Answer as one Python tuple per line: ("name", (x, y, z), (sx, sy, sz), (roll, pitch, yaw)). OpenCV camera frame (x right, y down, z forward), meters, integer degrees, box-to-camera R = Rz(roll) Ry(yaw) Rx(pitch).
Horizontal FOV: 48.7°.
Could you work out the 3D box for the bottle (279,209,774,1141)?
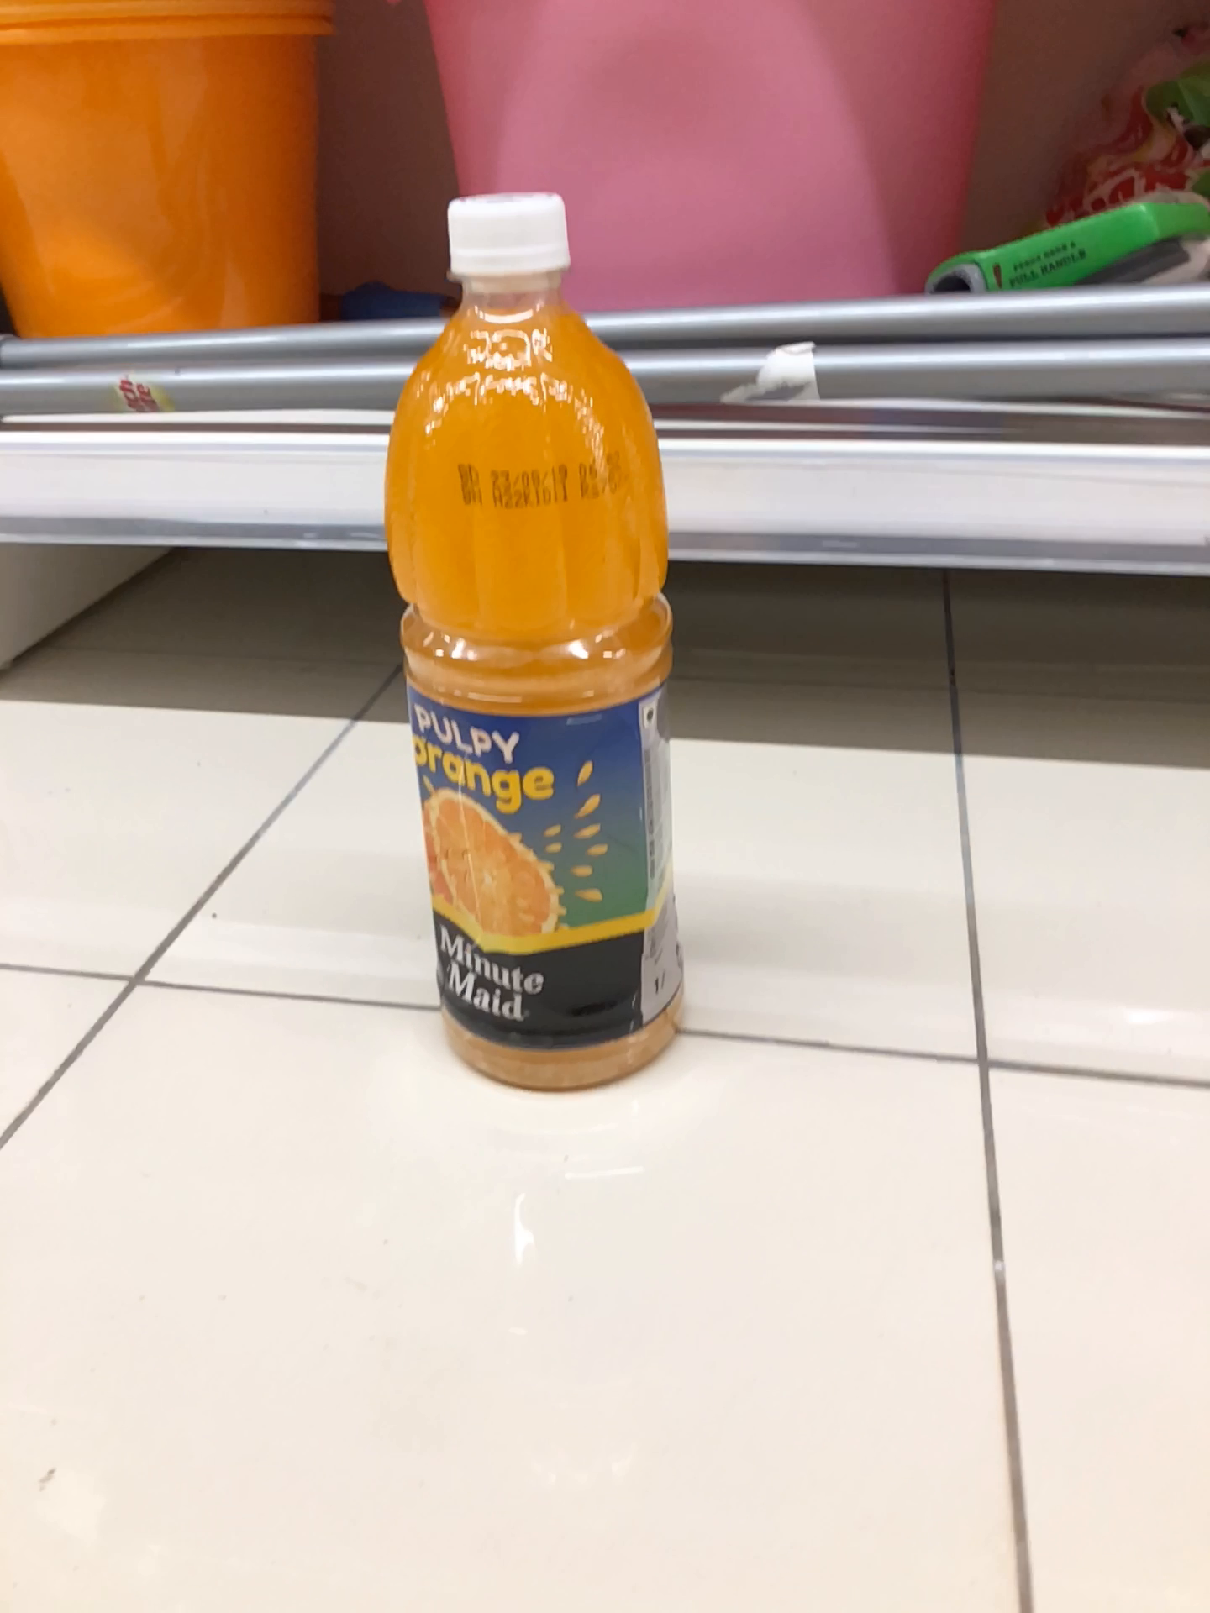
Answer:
("bottle", (-0.013, -0.038, 0.395), (0.090, 0.246, 0.091), (-2, 28, 1))
